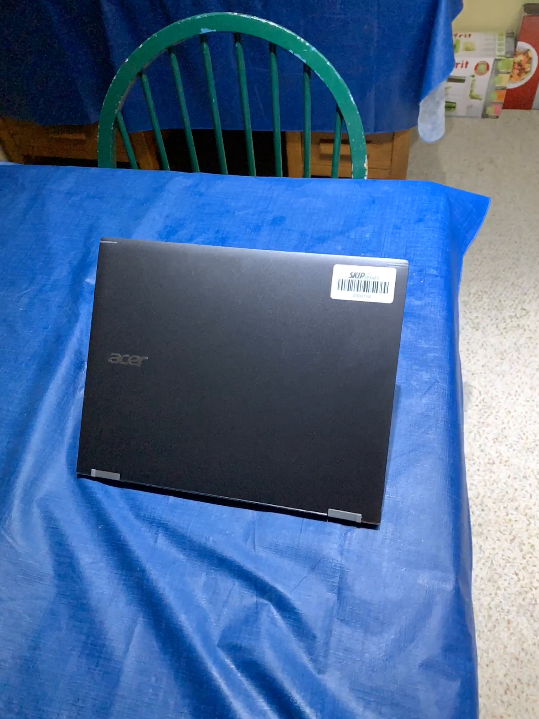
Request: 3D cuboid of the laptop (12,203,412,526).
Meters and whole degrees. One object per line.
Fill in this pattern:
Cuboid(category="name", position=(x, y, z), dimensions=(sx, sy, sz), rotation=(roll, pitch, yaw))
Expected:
Cuboid(category="laptop", position=(-0.028, -0.008, 0.551), dimensions=(0.303, 0.151, 0.251), rotation=(7, 54, 11))
